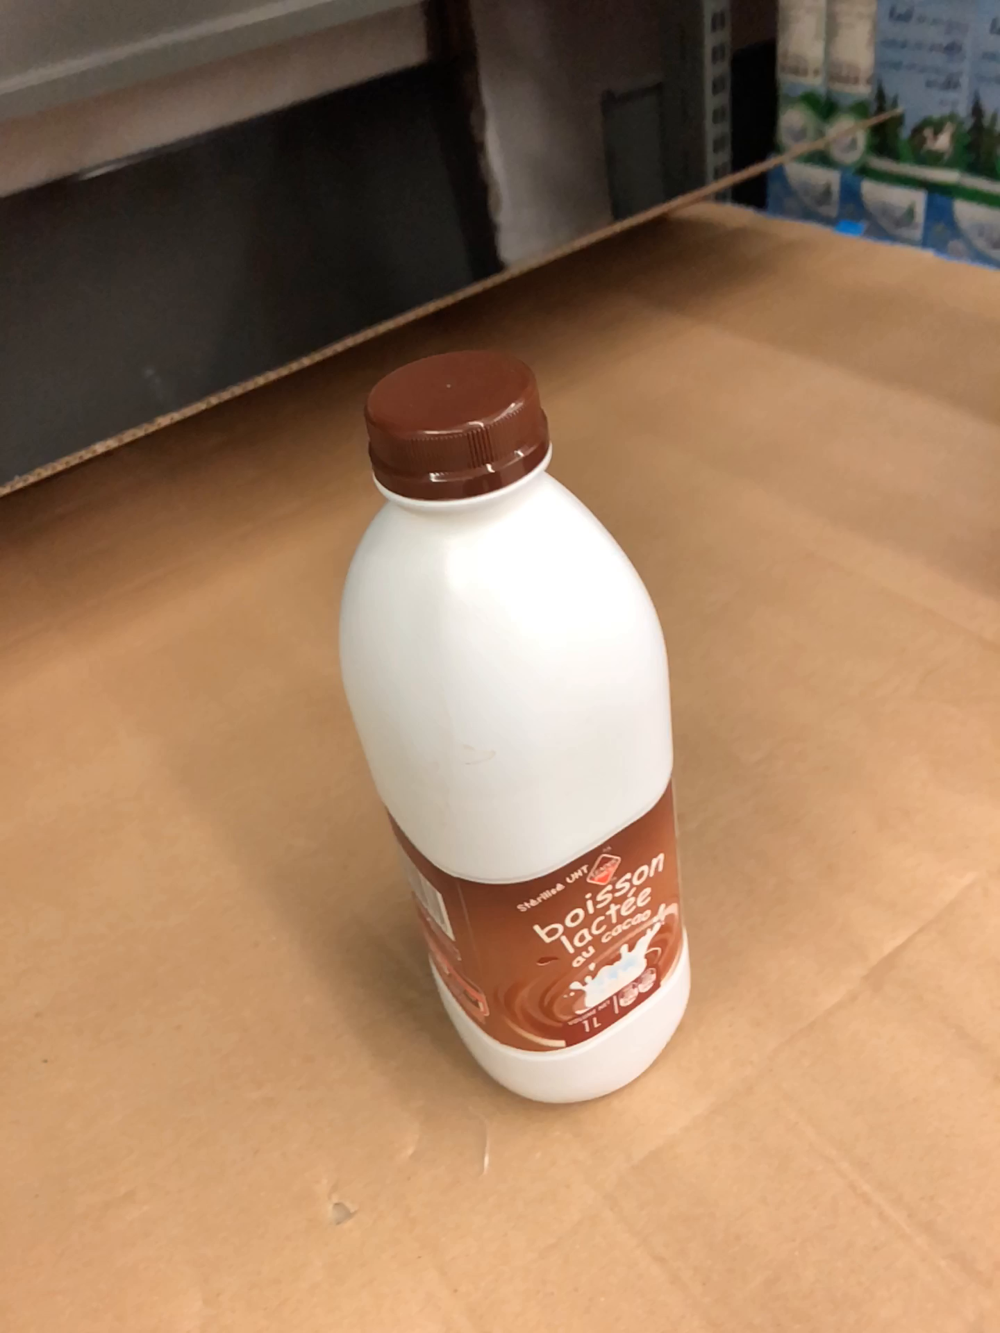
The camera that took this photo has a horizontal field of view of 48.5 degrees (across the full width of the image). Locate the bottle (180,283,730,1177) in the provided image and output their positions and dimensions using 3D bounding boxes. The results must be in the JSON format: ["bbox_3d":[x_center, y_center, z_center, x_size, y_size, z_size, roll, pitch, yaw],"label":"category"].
[{"bbox_3d":[0.004,0.031,0.318,0.090,0.239,0.080,-31,44,-23],"label":"bottle"}]
